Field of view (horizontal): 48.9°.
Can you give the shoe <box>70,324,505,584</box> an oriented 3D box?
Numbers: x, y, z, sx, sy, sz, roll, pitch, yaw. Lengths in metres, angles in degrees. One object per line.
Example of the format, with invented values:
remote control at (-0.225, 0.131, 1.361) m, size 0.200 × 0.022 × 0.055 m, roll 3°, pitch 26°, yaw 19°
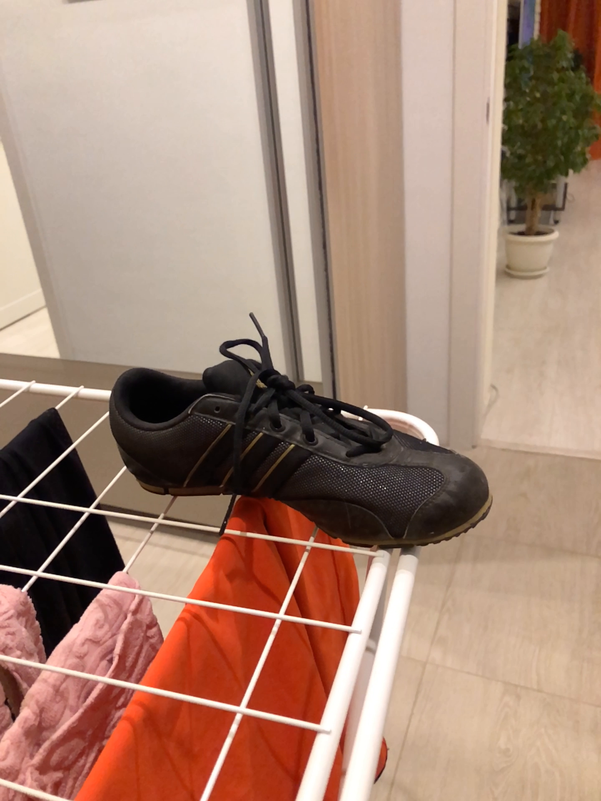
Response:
shoe at (-0.008, 0.022, 0.441) m, size 0.260 × 0.099 × 0.099 m, roll 7°, pitch 29°, yaw 23°
